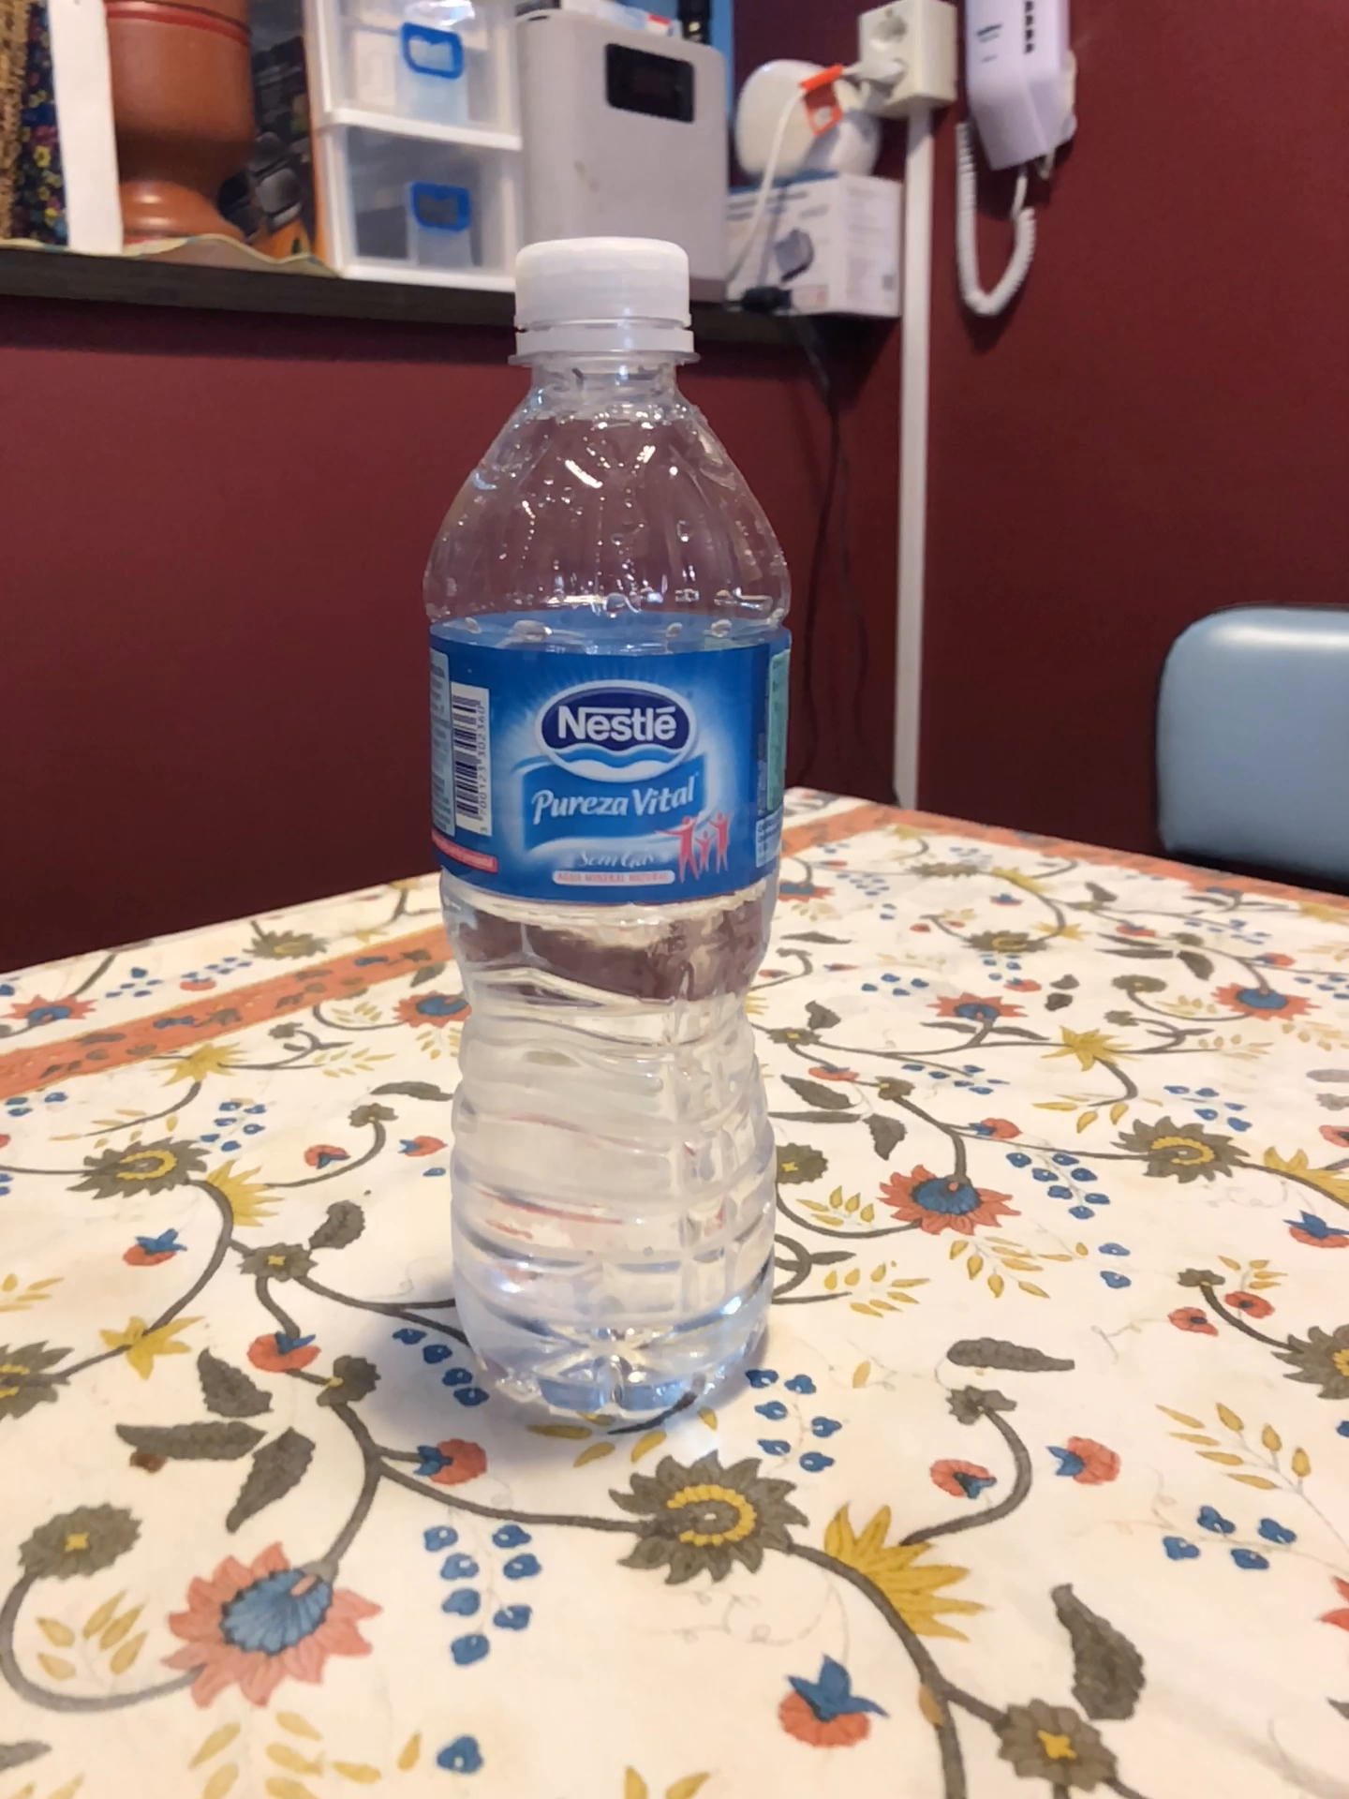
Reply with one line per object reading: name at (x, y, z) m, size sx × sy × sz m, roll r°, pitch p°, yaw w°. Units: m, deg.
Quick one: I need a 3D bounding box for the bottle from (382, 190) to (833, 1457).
bottle at (-0.011, -0.012, 0.256) m, size 0.060 × 0.189 × 0.070 m, roll -3°, pitch 15°, yaw -7°
